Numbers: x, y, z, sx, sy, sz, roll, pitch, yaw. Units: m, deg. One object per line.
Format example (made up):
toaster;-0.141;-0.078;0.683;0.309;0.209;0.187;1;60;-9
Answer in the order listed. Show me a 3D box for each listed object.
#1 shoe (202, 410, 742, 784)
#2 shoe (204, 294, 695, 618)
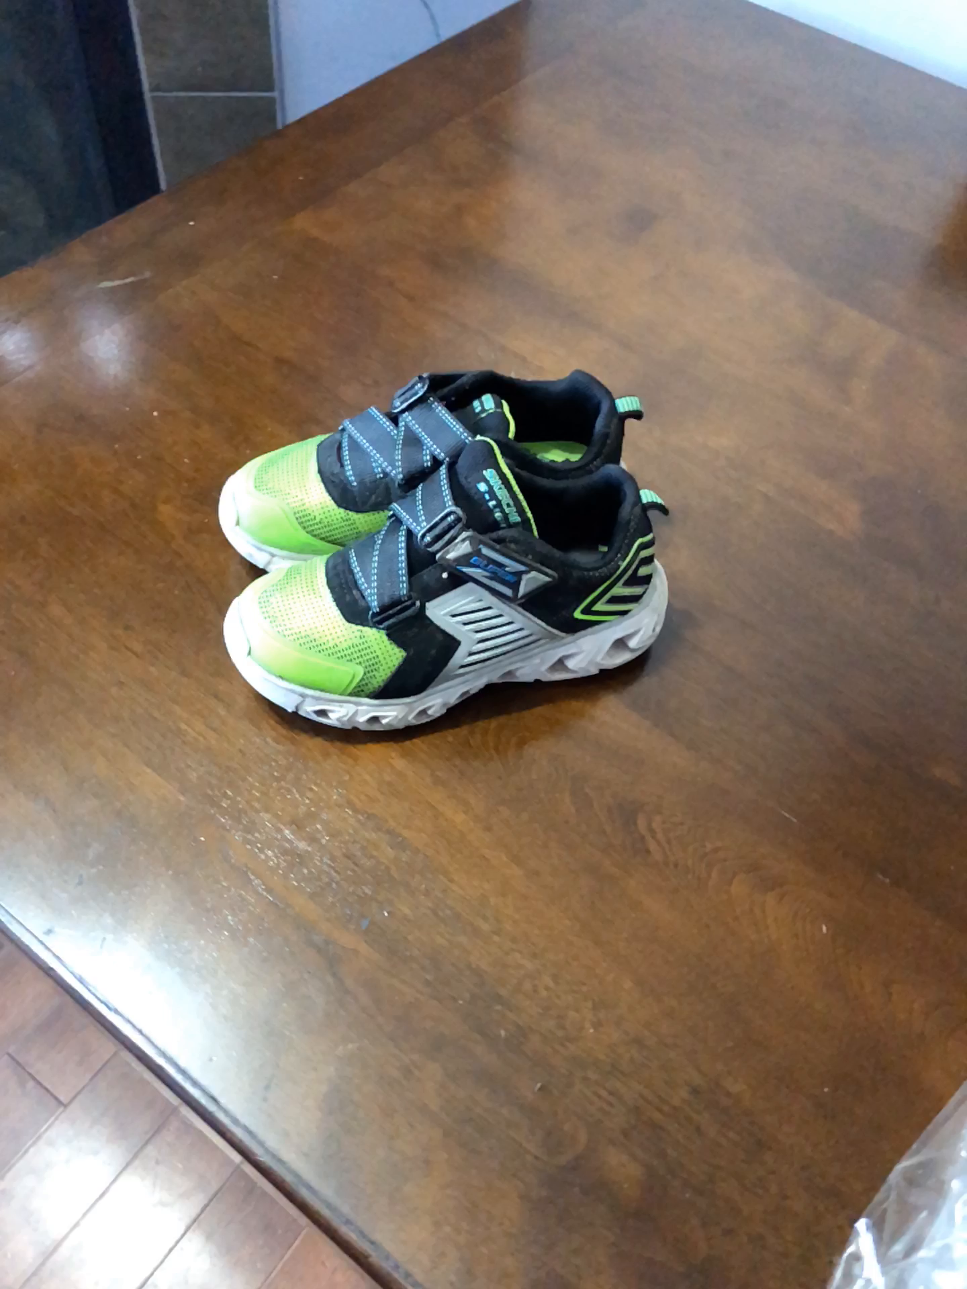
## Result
shoe;-0.010;-0.024;0.493;0.210;0.100;0.100;-10;57;-13
shoe;-0.022;-0.094;0.530;0.210;0.100;0.100;-7;56;-11
